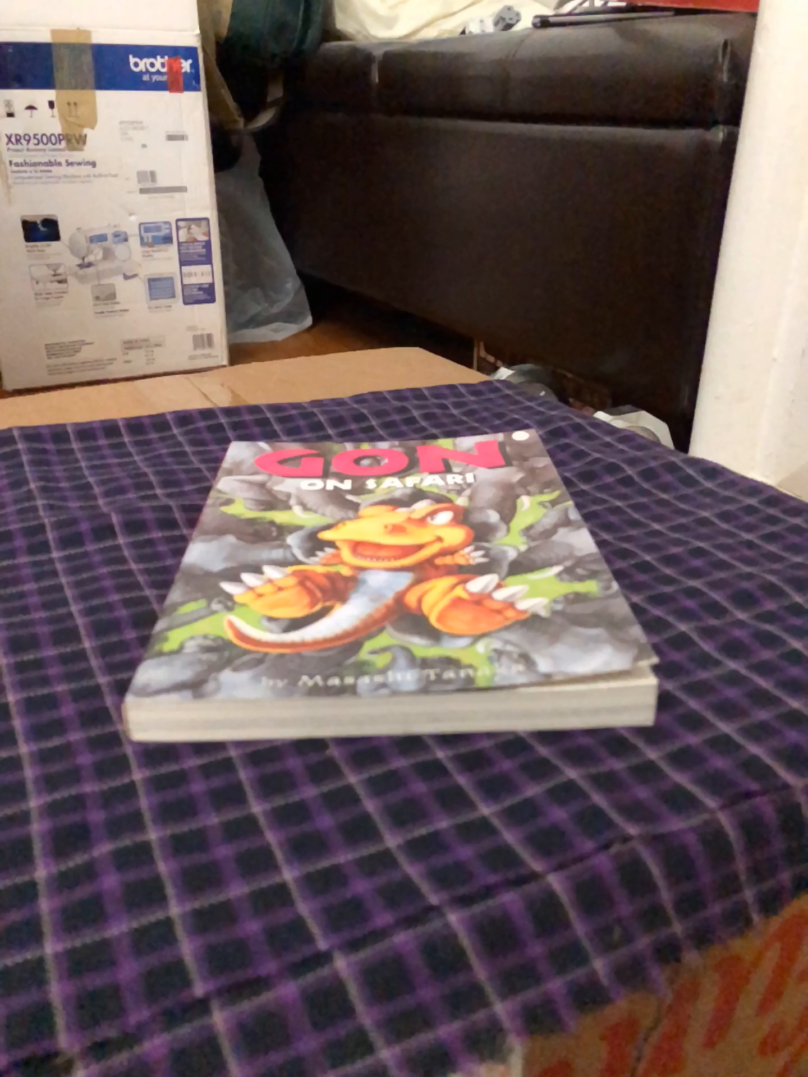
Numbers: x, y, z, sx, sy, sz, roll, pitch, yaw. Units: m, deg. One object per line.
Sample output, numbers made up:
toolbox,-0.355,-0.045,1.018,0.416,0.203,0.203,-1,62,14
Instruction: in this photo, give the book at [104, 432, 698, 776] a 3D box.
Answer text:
book,-0.003,0.006,0.323,0.150,0.020,0.211,-1,26,-2
